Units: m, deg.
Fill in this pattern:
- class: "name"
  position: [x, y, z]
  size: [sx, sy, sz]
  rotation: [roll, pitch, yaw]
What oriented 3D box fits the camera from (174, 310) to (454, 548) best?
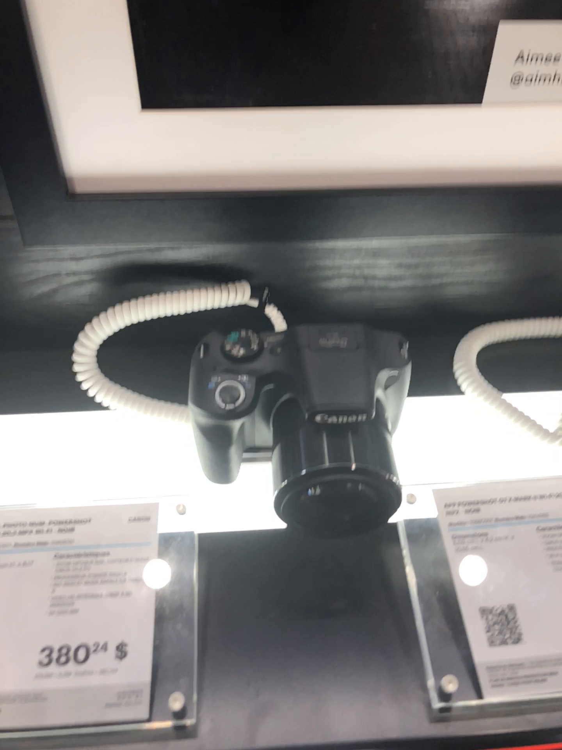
- class: "camera"
  position: [0.012, 0.029, 0.327]
  size: [0.122, 0.099, 0.071]
  rotation: [-2, 41, -4]
